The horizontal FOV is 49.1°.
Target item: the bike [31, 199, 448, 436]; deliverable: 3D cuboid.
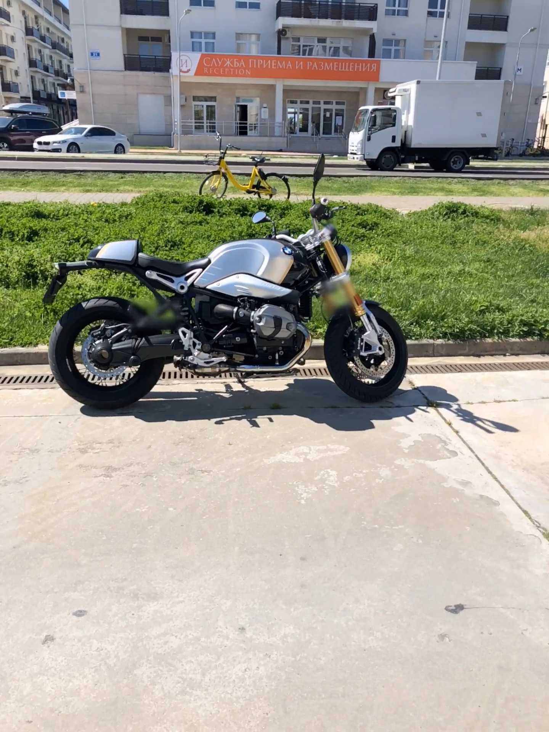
[{"bbox_3d":[-0.206,-0.336,3.430,2.068,1.122,0.650,-4,21,-13],"label":"bike"}]
